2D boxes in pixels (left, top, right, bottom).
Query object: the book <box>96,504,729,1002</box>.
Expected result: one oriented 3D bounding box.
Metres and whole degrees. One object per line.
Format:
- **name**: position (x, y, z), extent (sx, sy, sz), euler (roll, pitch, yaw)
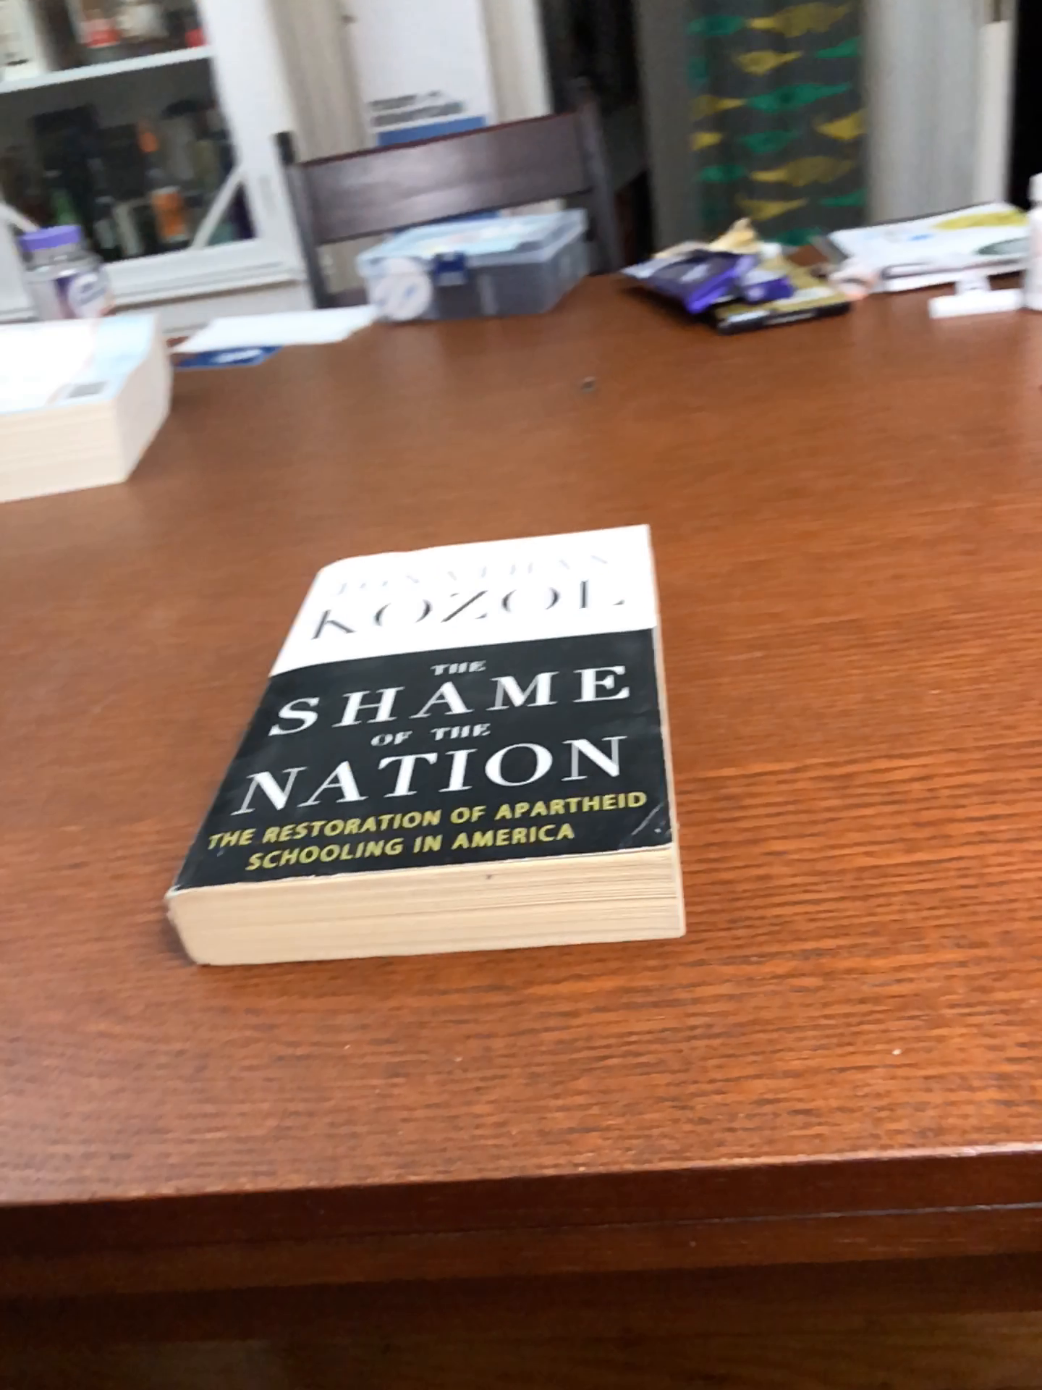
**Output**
- **book**: position (-0.020, 0.003, 0.393), extent (0.160, 0.030, 0.231), euler (-5, 31, 8)
